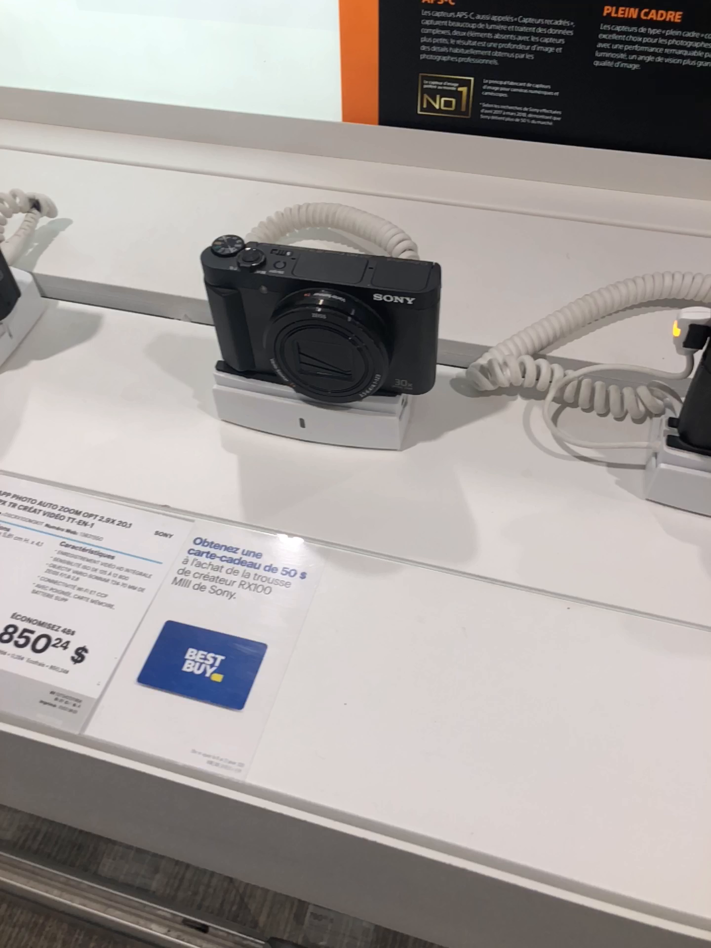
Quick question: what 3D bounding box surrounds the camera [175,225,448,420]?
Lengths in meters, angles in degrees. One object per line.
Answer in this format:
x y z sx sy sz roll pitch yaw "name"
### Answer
-0.017 -0.067 0.354 0.110 0.069 0.030 9 49 11 "camera"
